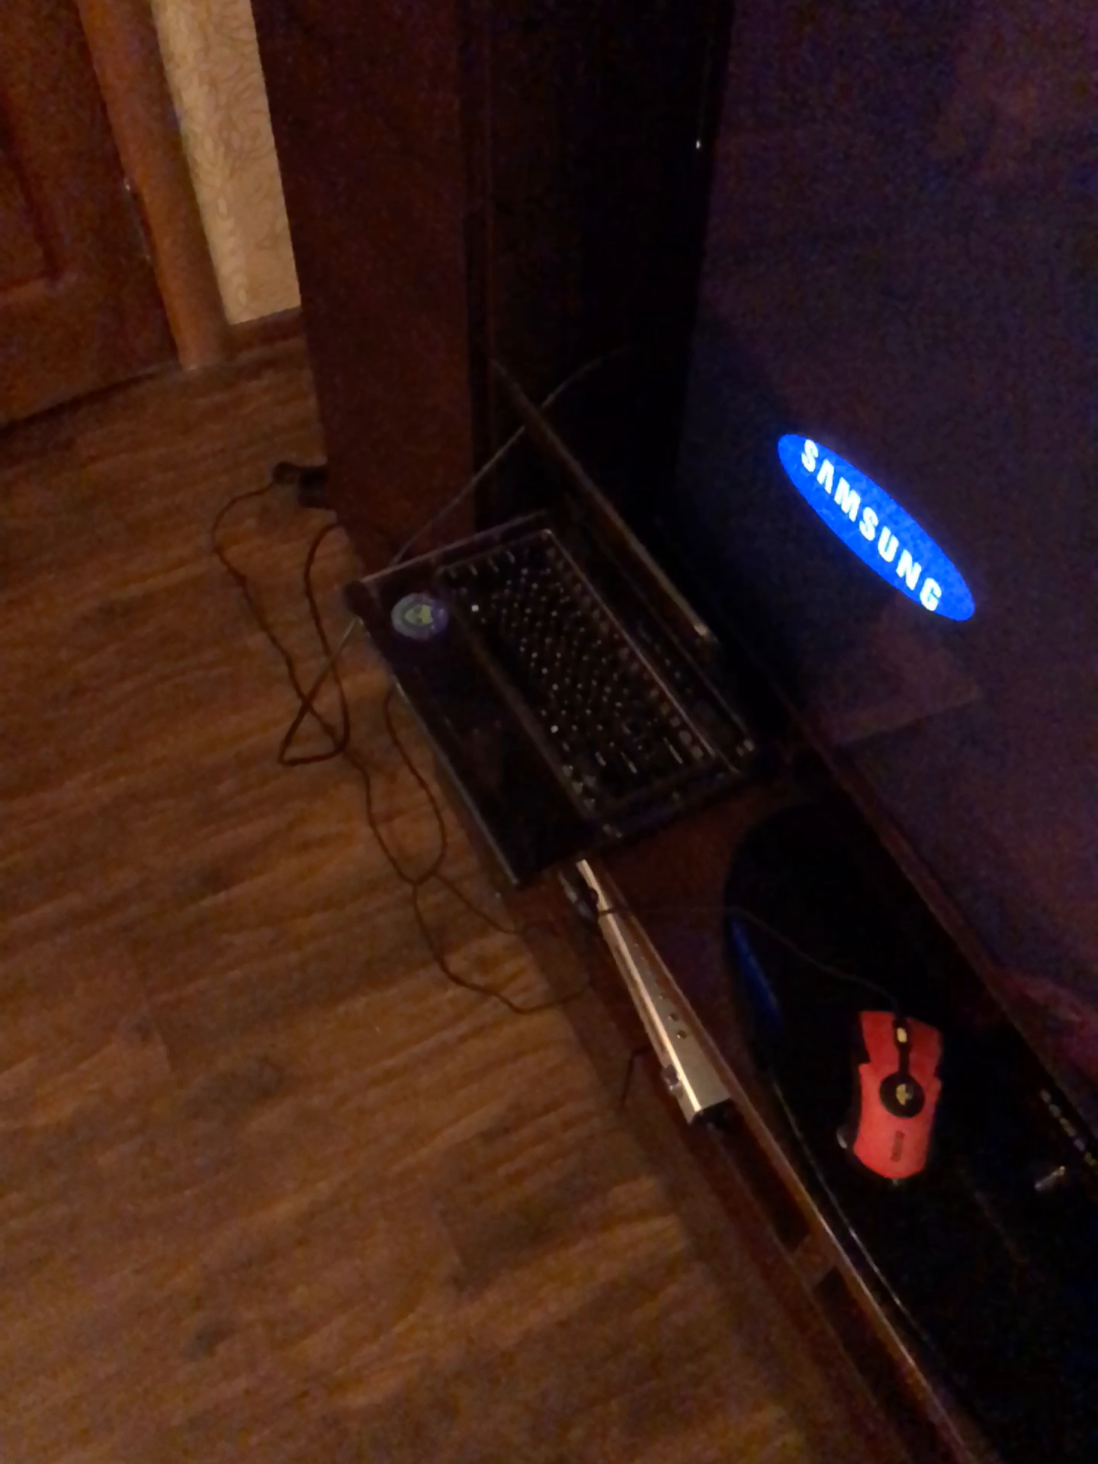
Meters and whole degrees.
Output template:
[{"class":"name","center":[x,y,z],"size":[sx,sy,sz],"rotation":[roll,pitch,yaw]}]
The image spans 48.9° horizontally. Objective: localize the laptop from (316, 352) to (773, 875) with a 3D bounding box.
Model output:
[{"class":"laptop","center":[-0.016,-0.103,0.962],"size":[0.200,0.183,0.336],"rotation":[-23,58,-18]}]
